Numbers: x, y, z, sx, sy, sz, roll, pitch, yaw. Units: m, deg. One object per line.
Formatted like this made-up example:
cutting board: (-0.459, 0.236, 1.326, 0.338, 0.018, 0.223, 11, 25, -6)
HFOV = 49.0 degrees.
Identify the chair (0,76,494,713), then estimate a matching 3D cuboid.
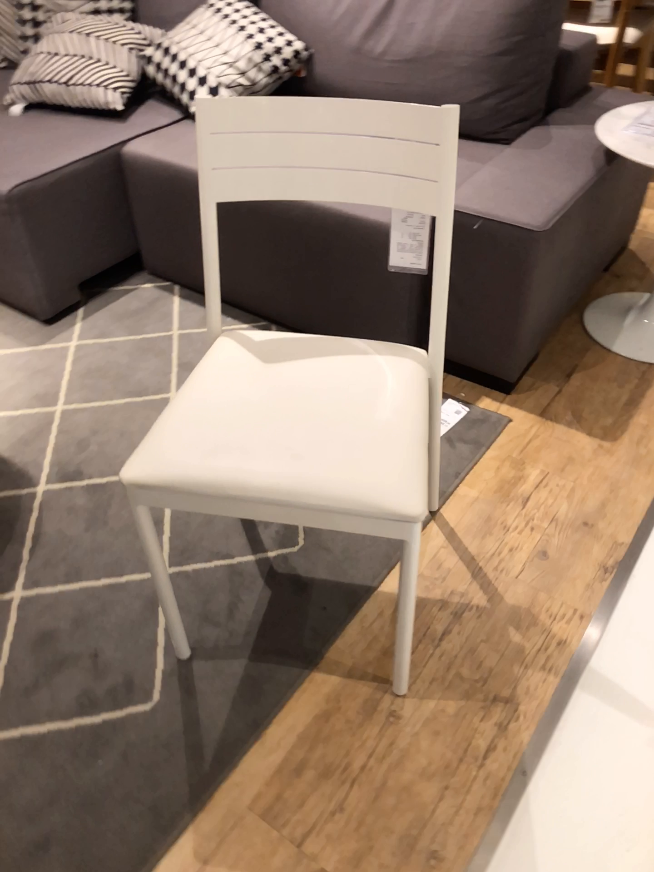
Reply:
chair: (-0.032, -0.041, 1.060, 0.450, 0.774, 0.473, 6, 42, 9)
